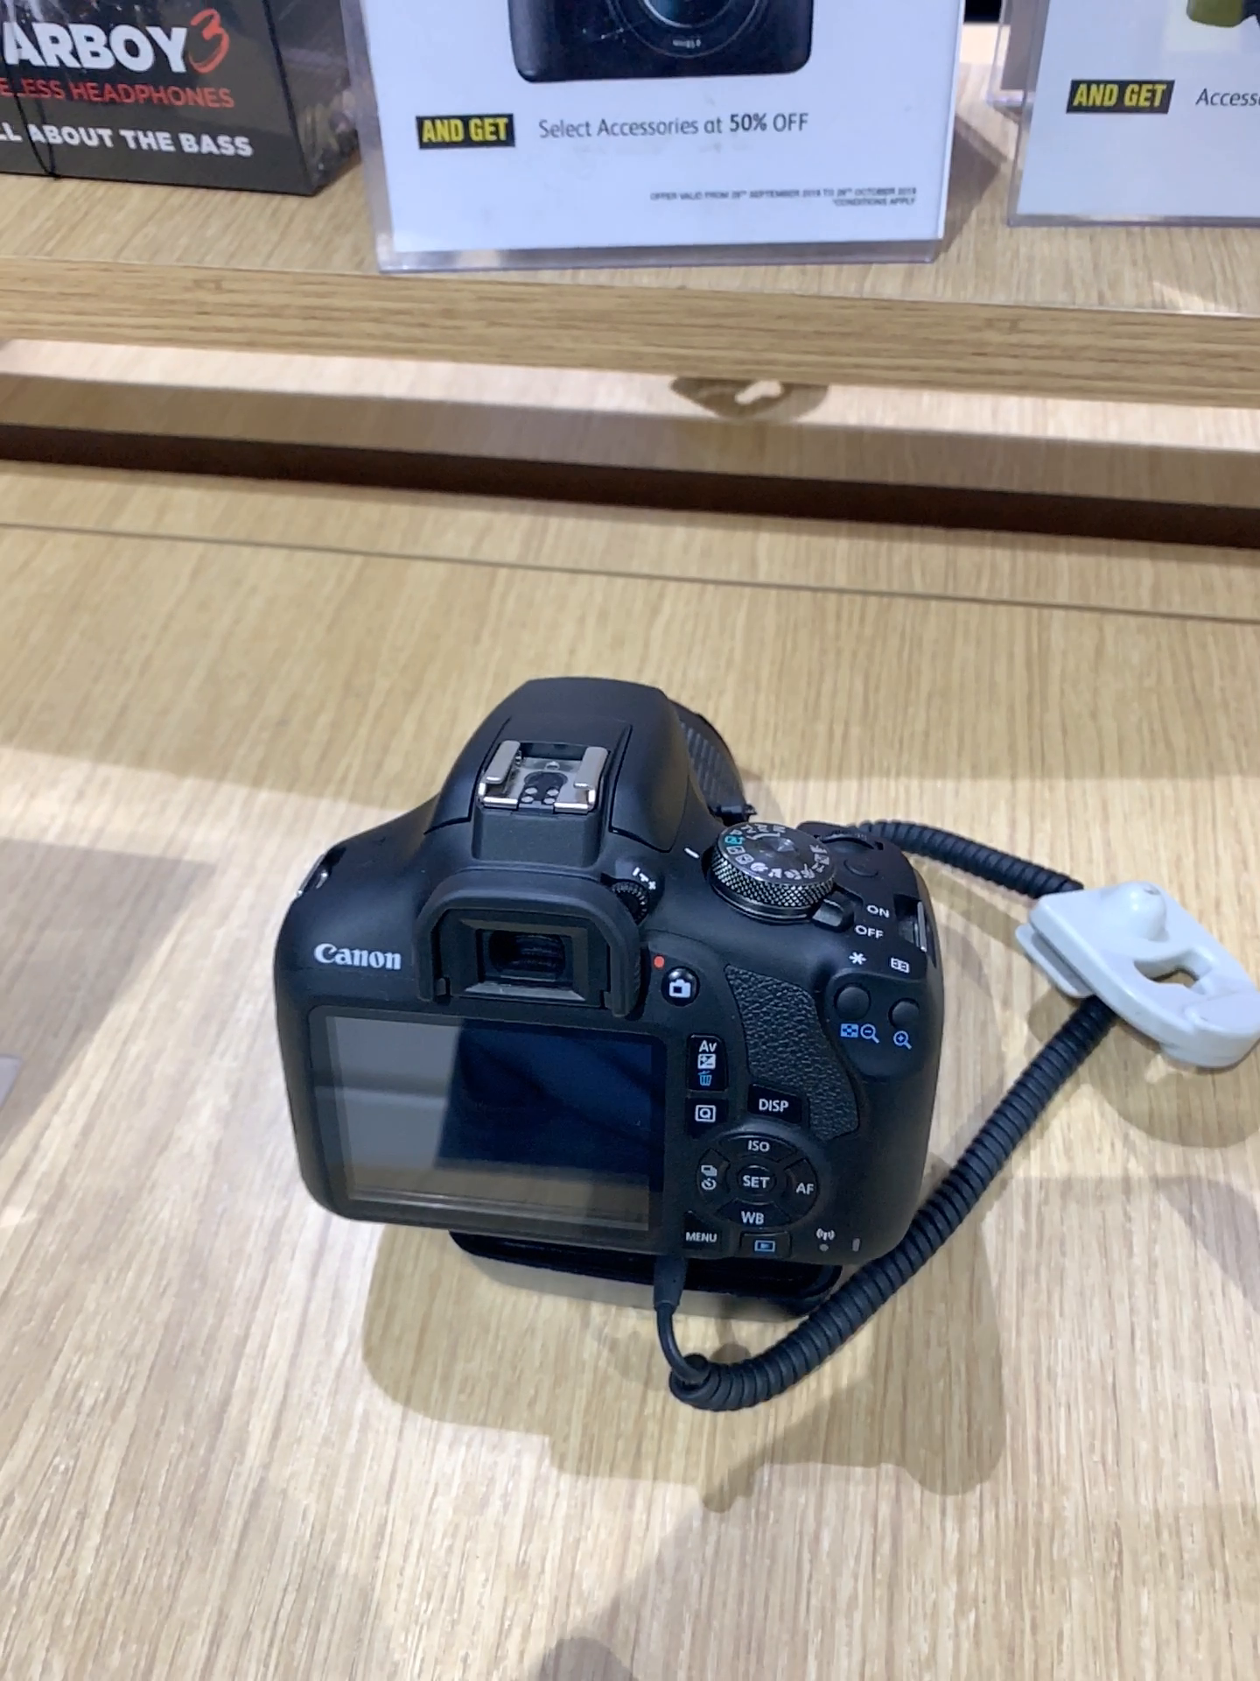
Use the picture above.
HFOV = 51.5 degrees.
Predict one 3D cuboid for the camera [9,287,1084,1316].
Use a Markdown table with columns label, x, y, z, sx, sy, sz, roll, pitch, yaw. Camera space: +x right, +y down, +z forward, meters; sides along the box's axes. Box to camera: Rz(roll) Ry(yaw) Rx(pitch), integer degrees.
| label | x | y | z | sx | sy | sz | roll | pitch | yaw |
| --- | --- | --- | --- | --- | --- | --- | --- | --- | --- |
| camera | -0.001 | -0.014 | 0.259 | 0.140 | 0.110 | 0.160 | 5 | 52 | 7 |
